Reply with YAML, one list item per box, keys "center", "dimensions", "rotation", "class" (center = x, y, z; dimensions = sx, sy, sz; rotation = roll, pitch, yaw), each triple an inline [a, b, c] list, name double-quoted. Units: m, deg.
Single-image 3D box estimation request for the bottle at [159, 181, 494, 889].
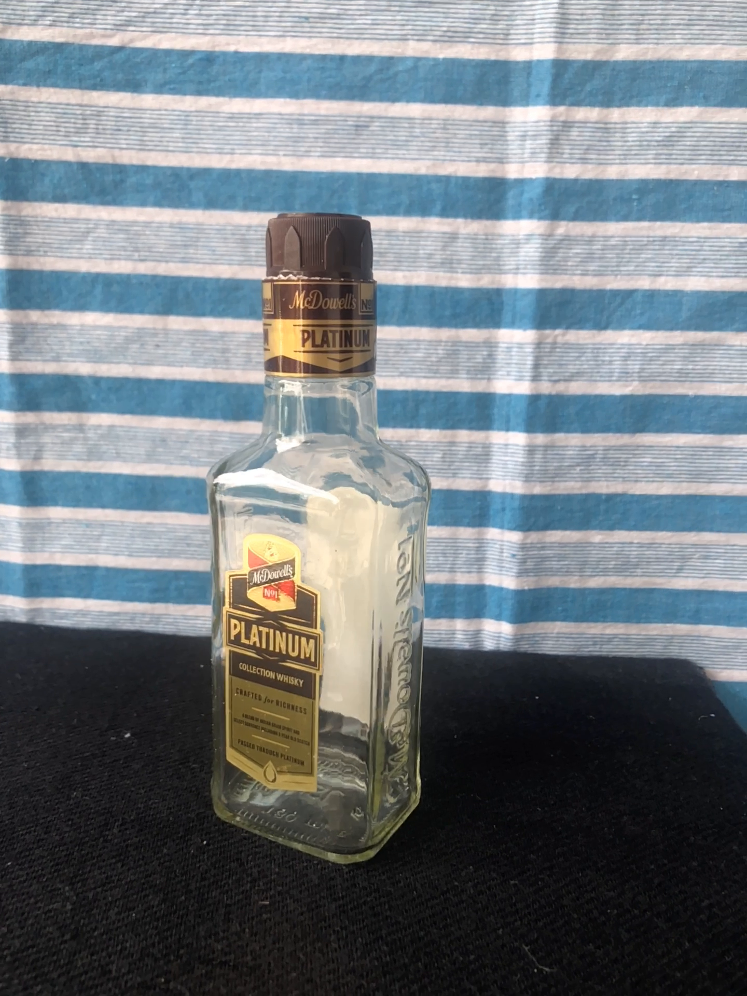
- center: [-0.013, 0.007, 0.199]
  dimensions: [0.060, 0.149, 0.040]
  rotation: [10, 17, 23]
  class: "bottle"
